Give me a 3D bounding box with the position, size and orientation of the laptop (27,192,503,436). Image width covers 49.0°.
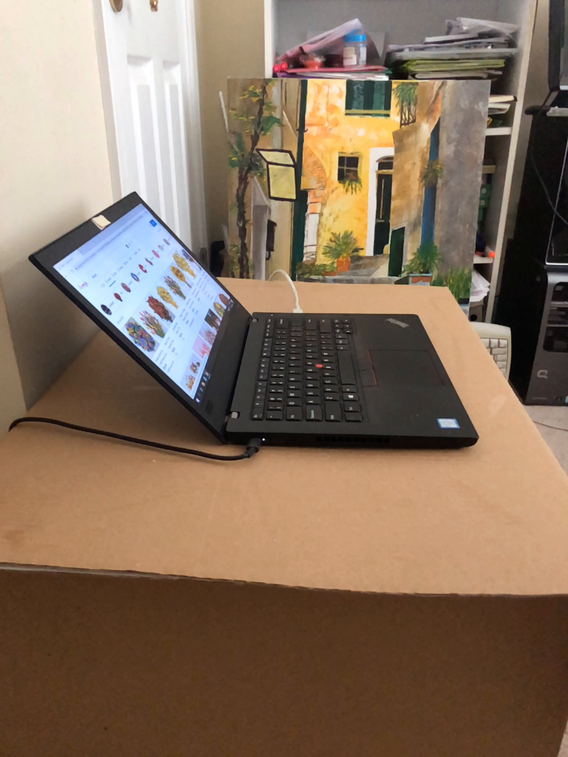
[{"bbox_3d":[-0.010,-0.091,0.657,0.364,0.158,0.324,0,24,1],"label":"laptop"}]
